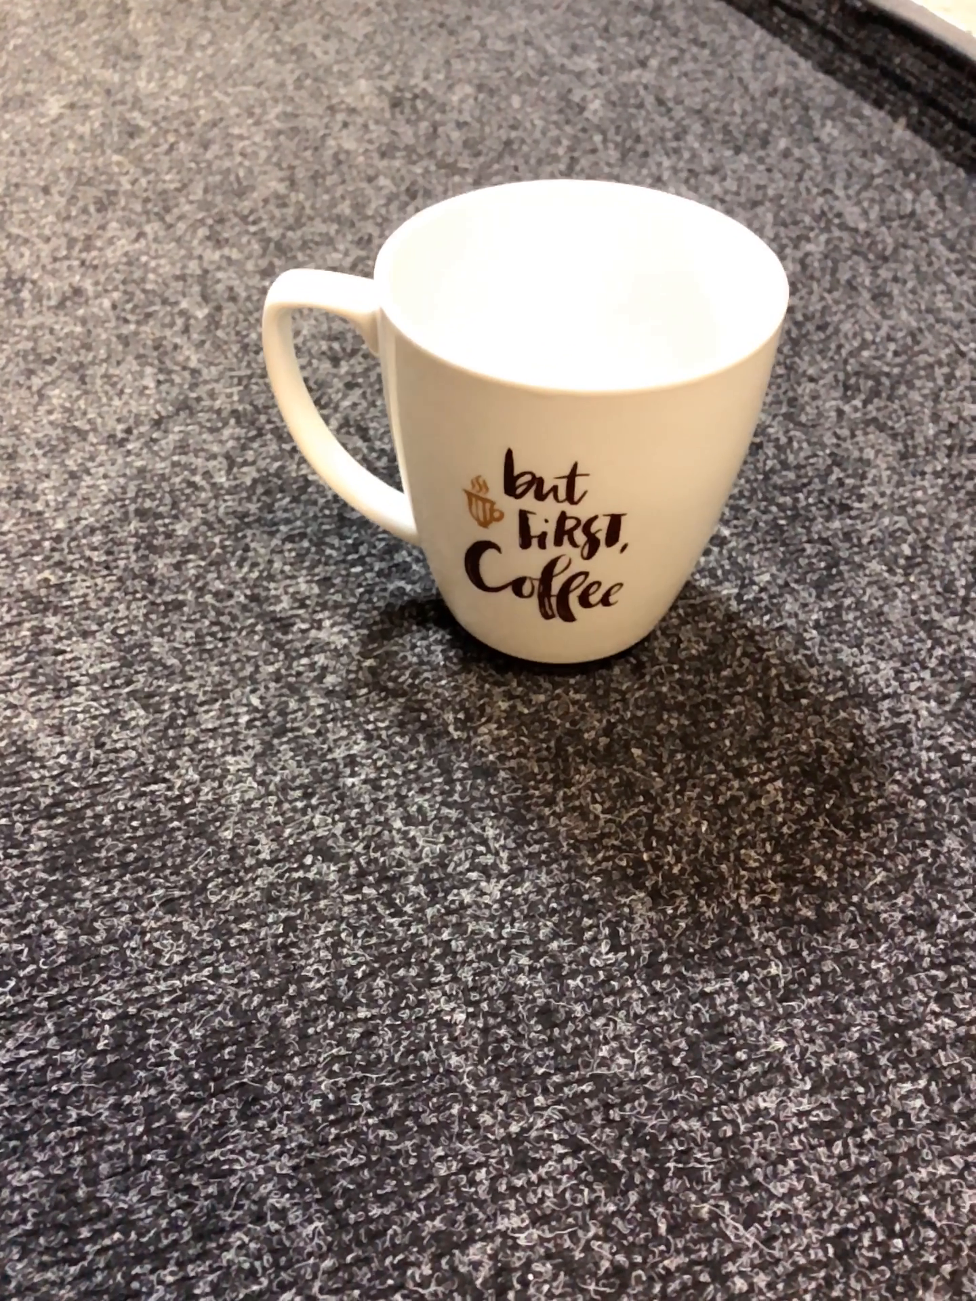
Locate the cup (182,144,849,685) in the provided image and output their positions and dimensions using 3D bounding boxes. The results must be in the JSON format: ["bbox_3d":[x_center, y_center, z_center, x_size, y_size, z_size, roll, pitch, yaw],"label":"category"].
[{"bbox_3d":[0.007,-0.068,0.310,0.145,0.100,0.111,3,47,1],"label":"cup"}]
